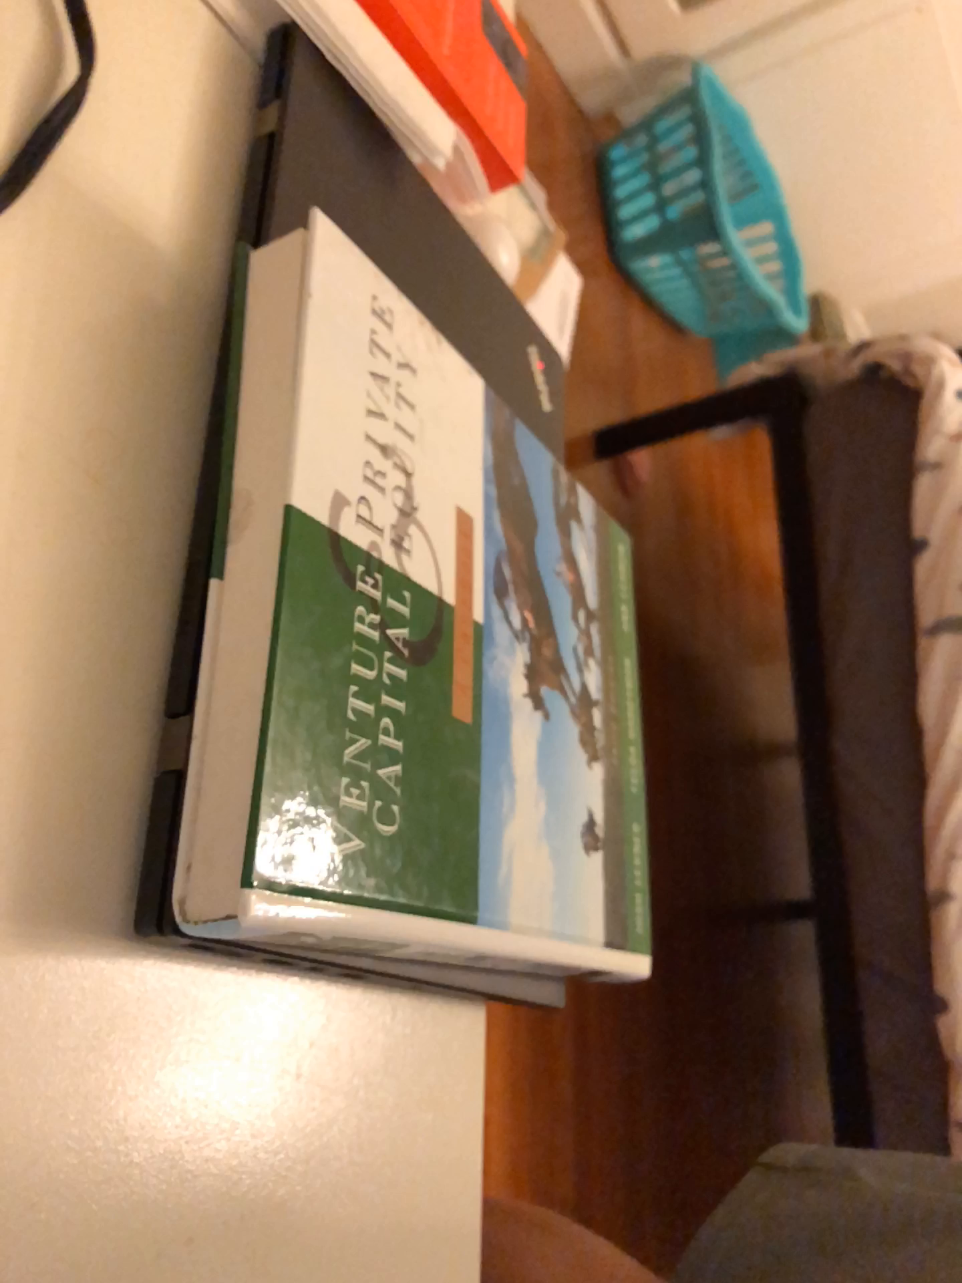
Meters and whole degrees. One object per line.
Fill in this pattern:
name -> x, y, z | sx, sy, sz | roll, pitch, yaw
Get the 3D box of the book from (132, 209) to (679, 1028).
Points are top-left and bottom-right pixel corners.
book -> 0.001, 0.020, 0.391 | 0.271, 0.030, 0.220 | 31, 52, -53
